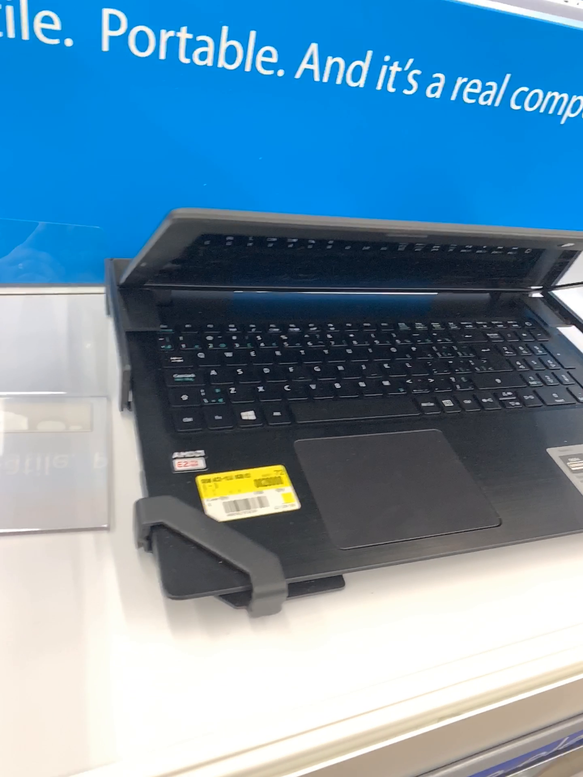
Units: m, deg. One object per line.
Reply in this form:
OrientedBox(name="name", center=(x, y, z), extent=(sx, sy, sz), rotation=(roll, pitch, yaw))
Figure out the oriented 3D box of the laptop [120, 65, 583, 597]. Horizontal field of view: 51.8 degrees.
OrientedBox(name="laptop", center=(0.098, -0.052, 0.363), extent=(0.365, 0.146, 0.234), rotation=(-3, 44, -21))
